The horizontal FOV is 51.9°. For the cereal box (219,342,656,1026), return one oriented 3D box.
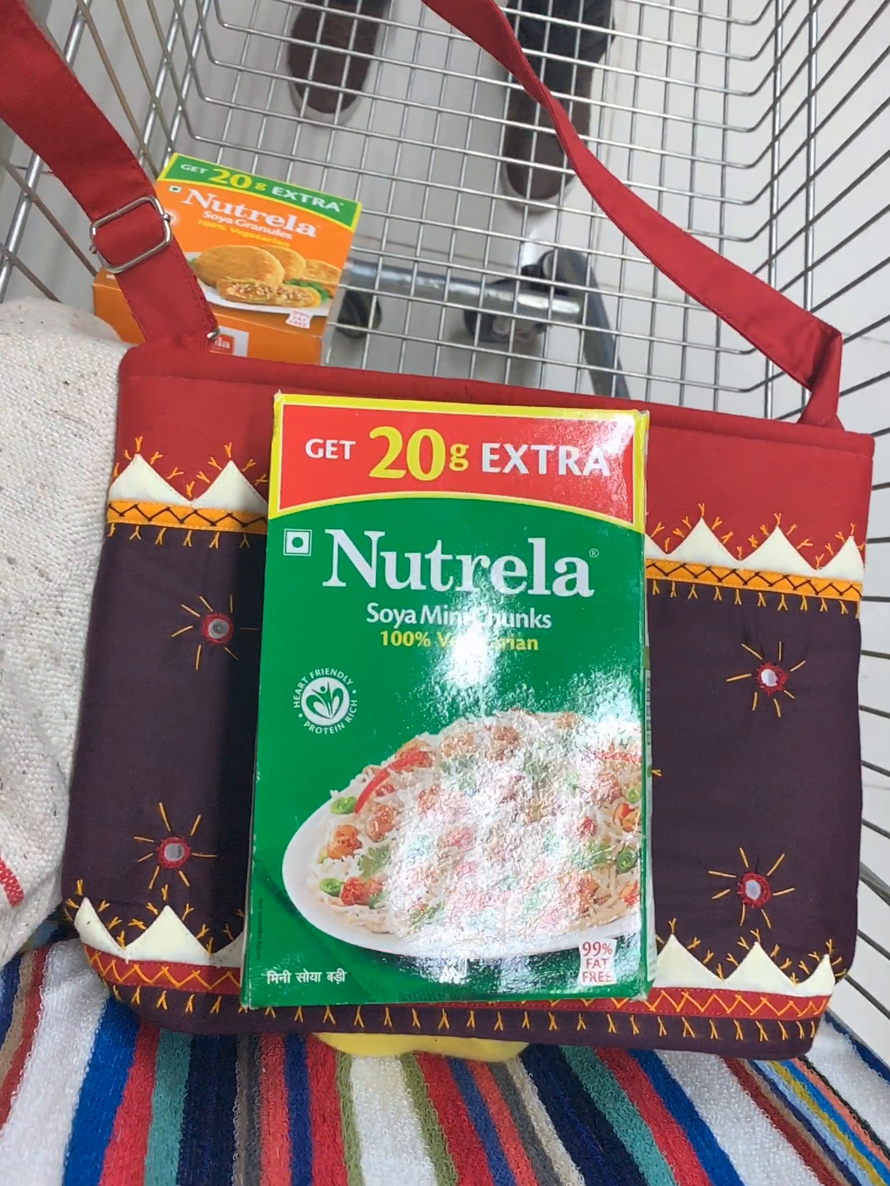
[{"bbox_3d":[-0.003,0.025,0.287,0.120,0.050,0.190,1,82,-7],"label":"cereal box"}]
